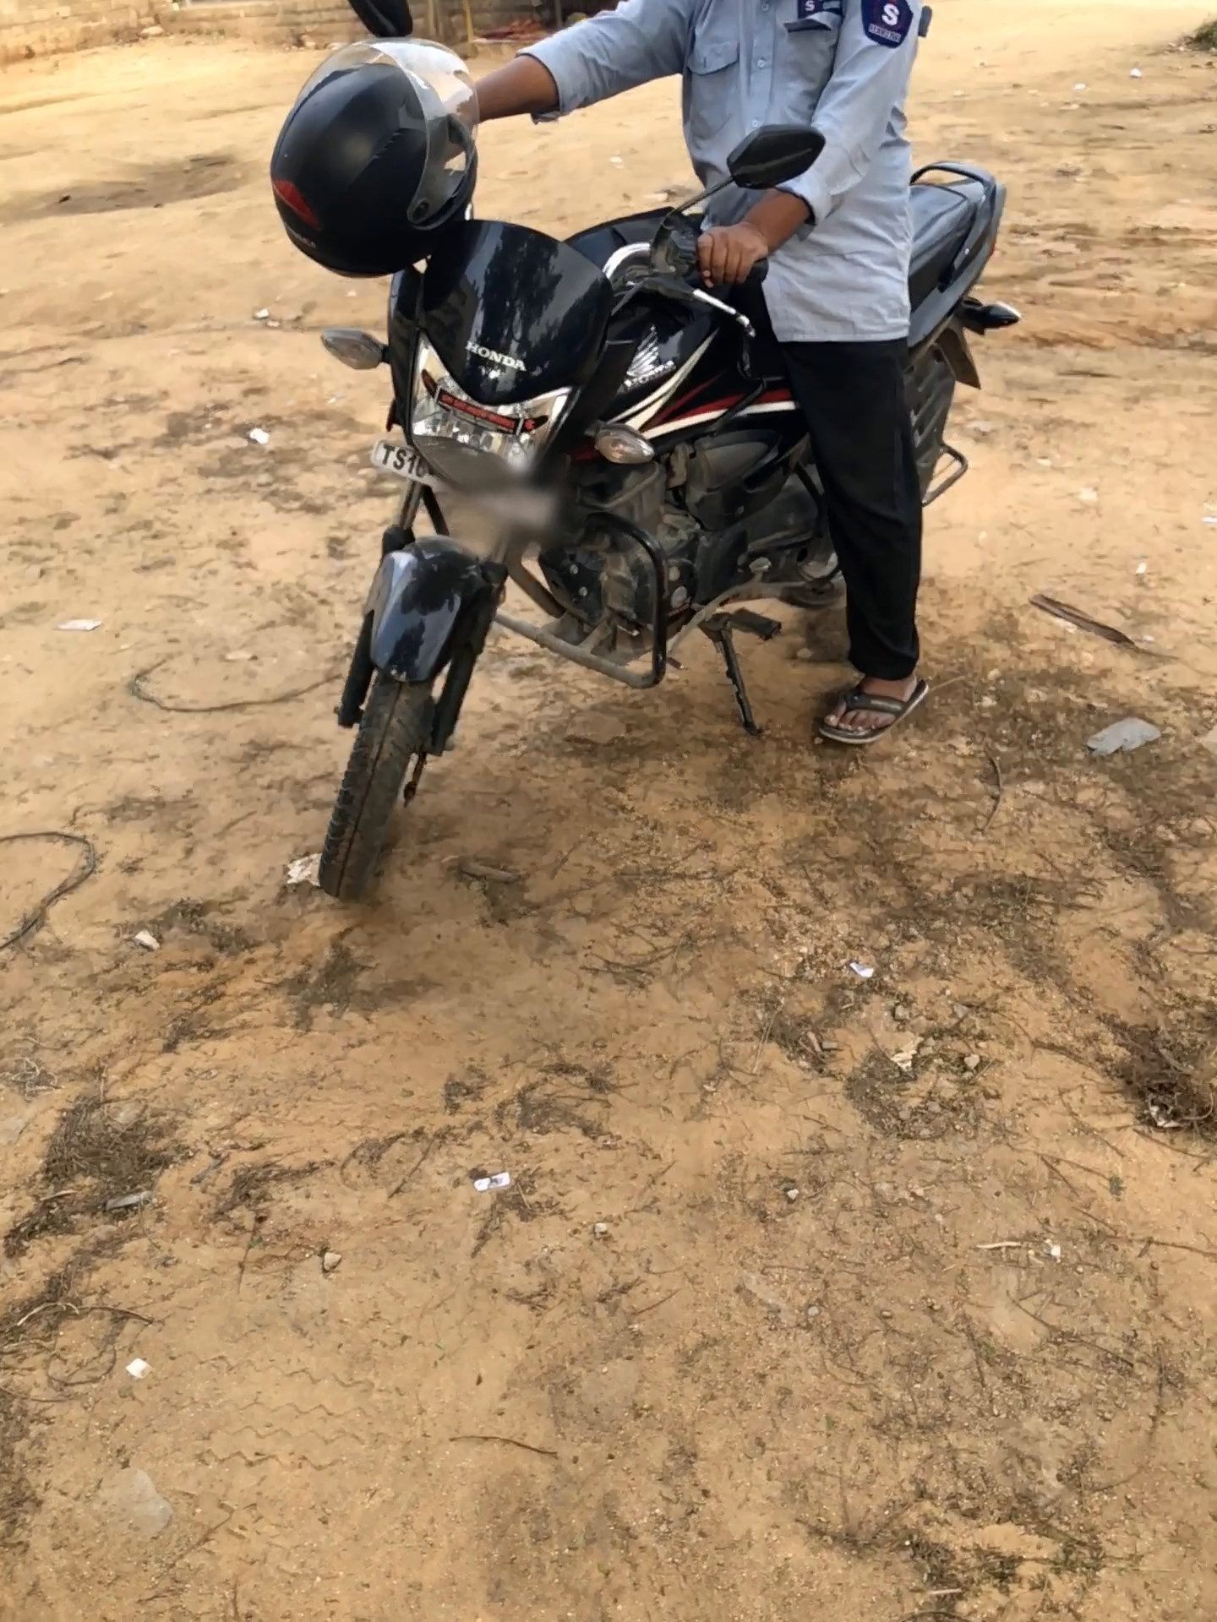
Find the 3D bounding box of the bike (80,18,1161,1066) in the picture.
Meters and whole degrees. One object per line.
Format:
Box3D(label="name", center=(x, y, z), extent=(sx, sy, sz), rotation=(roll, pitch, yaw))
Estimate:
Box3D(label="bike", center=(0.139, -0.555, 2.191), extent=(0.669, 0.913, 1.569), rotation=(25, 49, 39))
